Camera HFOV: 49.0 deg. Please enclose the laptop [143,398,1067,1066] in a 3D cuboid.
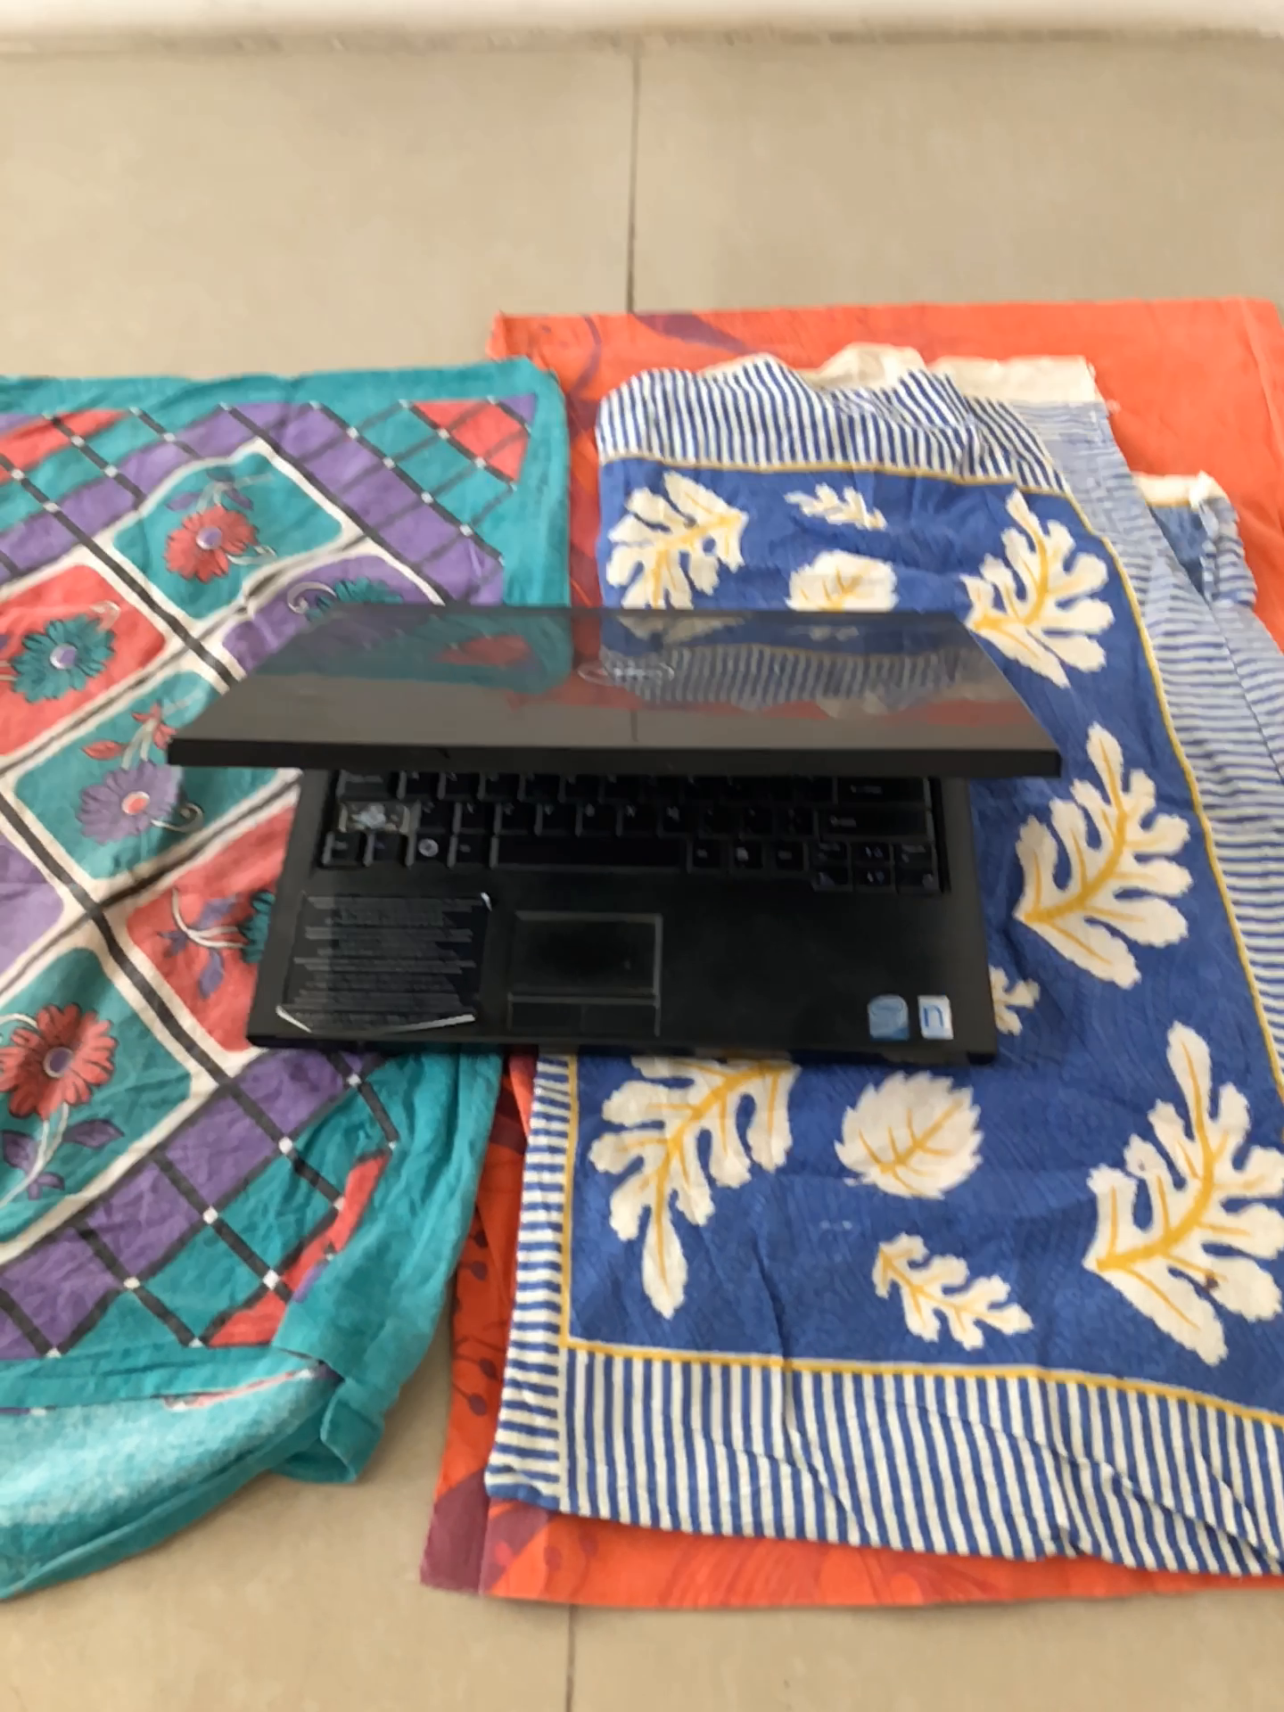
[{"bbox_3d":[-0.008,-0.056,0.584,0.298,0.143,0.235,2,54,2],"label":"laptop"}]
